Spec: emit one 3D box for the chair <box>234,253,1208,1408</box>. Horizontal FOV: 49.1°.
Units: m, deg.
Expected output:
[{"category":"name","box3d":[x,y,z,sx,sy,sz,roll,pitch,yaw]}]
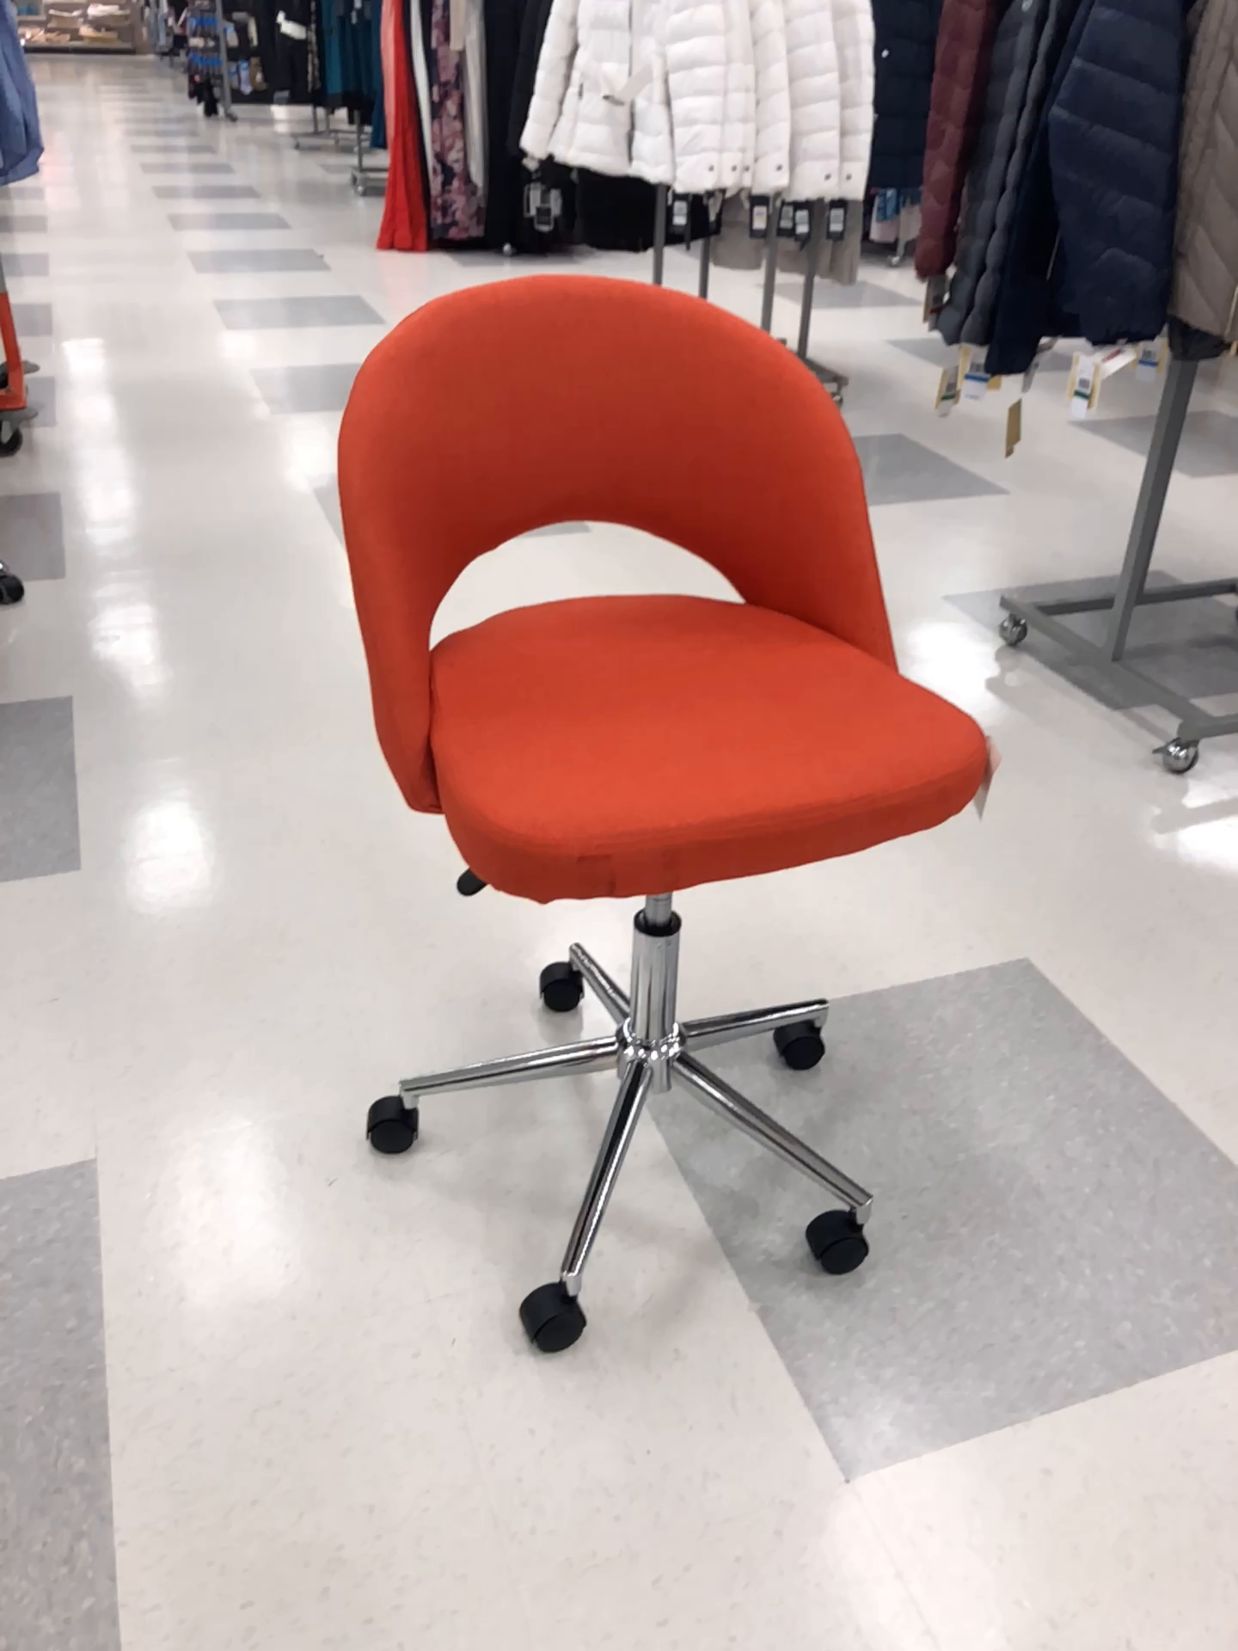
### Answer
[{"category":"chair","box3d":[0.021,-0.050,1.337,0.600,0.858,0.610,-10,32,-20]}]
